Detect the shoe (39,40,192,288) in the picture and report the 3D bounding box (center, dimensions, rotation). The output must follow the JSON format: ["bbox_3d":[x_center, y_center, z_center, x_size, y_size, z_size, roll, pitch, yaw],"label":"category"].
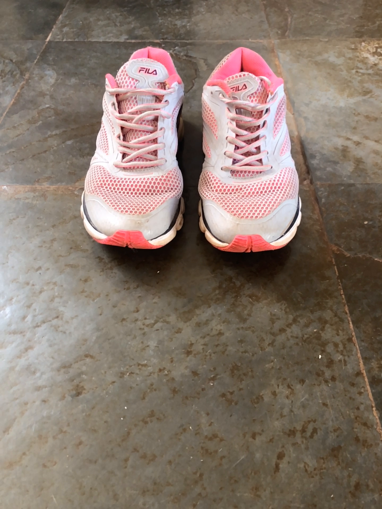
[{"bbox_3d":[-0.056,-0.110,0.443,0.110,0.099,0.282,0,51,1],"label":"shoe"}]

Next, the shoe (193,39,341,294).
[{"bbox_3d":[0.066,-0.110,0.446,0.110,0.099,0.292,3,51,3],"label":"shoe"}]
